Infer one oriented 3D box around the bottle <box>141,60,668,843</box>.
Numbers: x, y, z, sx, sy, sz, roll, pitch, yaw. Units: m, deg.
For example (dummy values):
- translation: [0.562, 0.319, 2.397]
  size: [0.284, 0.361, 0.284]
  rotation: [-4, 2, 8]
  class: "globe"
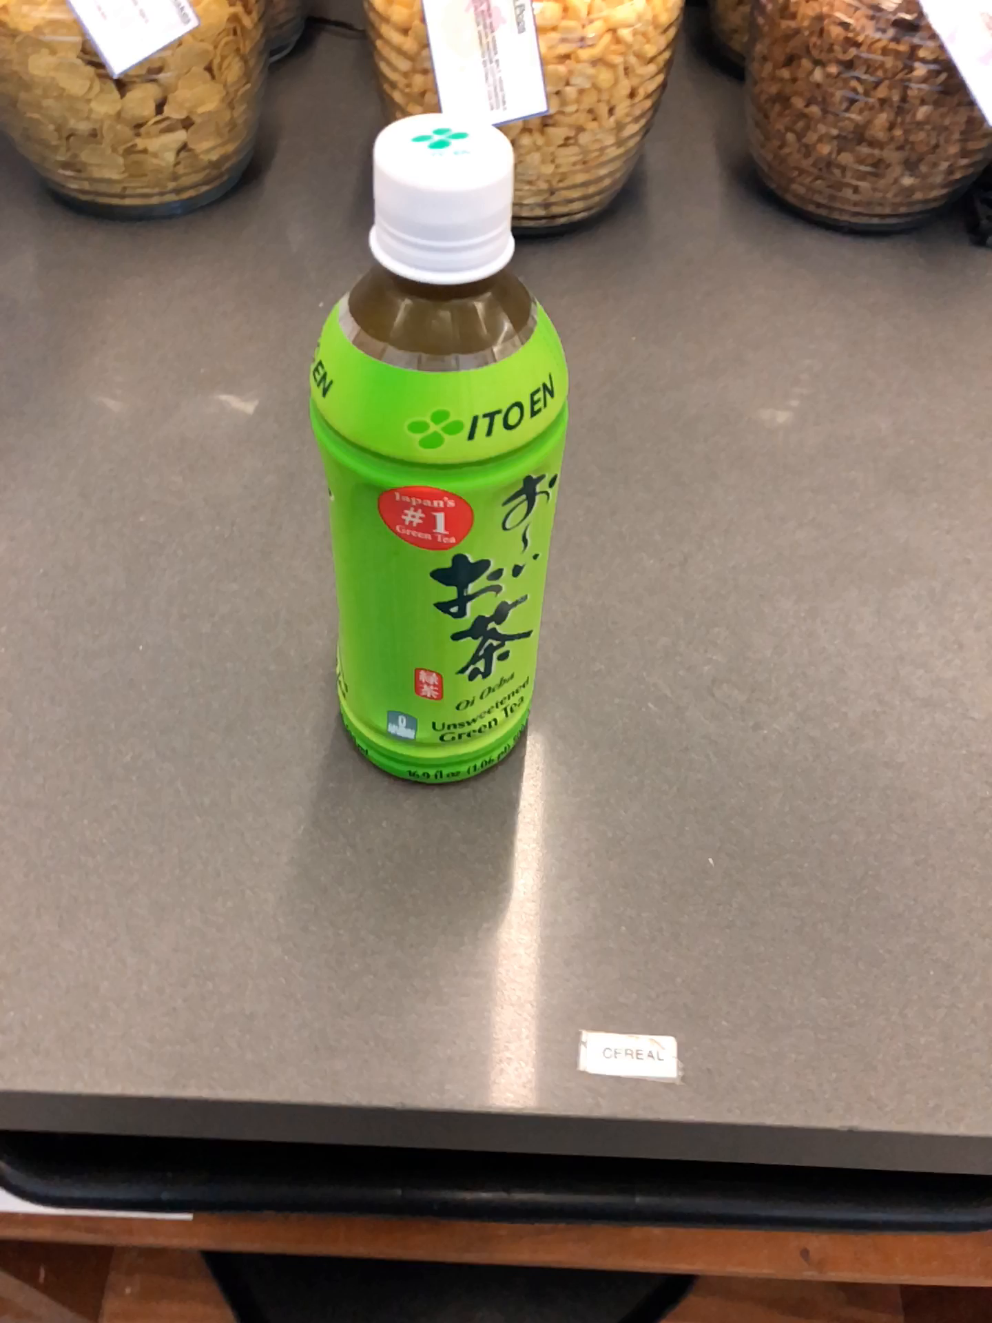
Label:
- translation: [-0.022, -0.045, 0.311]
  size: [0.080, 0.189, 0.080]
  rotation: [1, 52, -2]
  class: "bottle"
